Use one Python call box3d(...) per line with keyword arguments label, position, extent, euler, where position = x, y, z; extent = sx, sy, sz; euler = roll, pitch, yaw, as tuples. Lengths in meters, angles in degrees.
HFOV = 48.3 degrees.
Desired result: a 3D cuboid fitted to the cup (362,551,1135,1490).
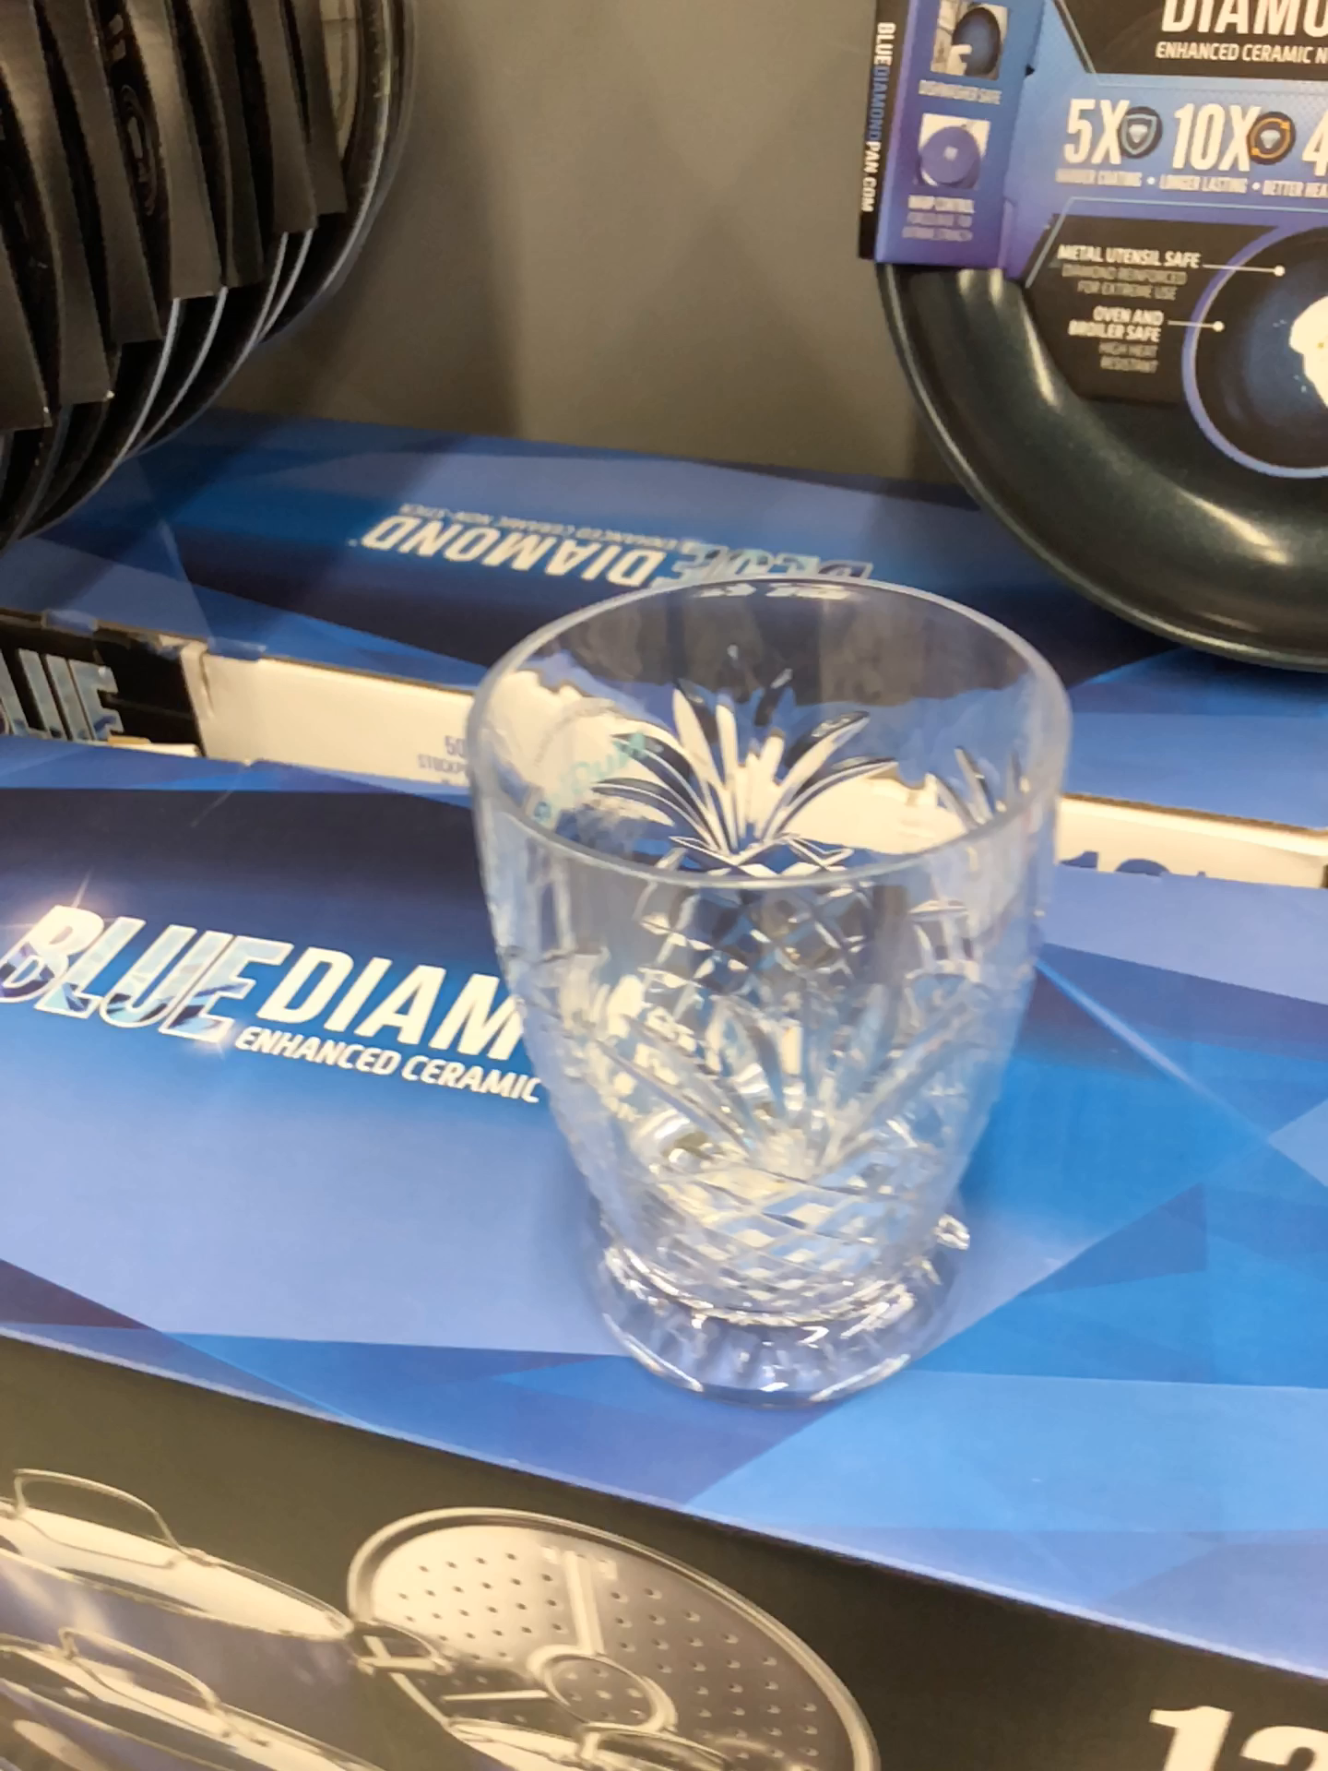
box3d(label="cup", position=(0.020, 0.019, 0.241), extent=(0.092, 0.113, 0.088), euler=(-2, 38, 2))
